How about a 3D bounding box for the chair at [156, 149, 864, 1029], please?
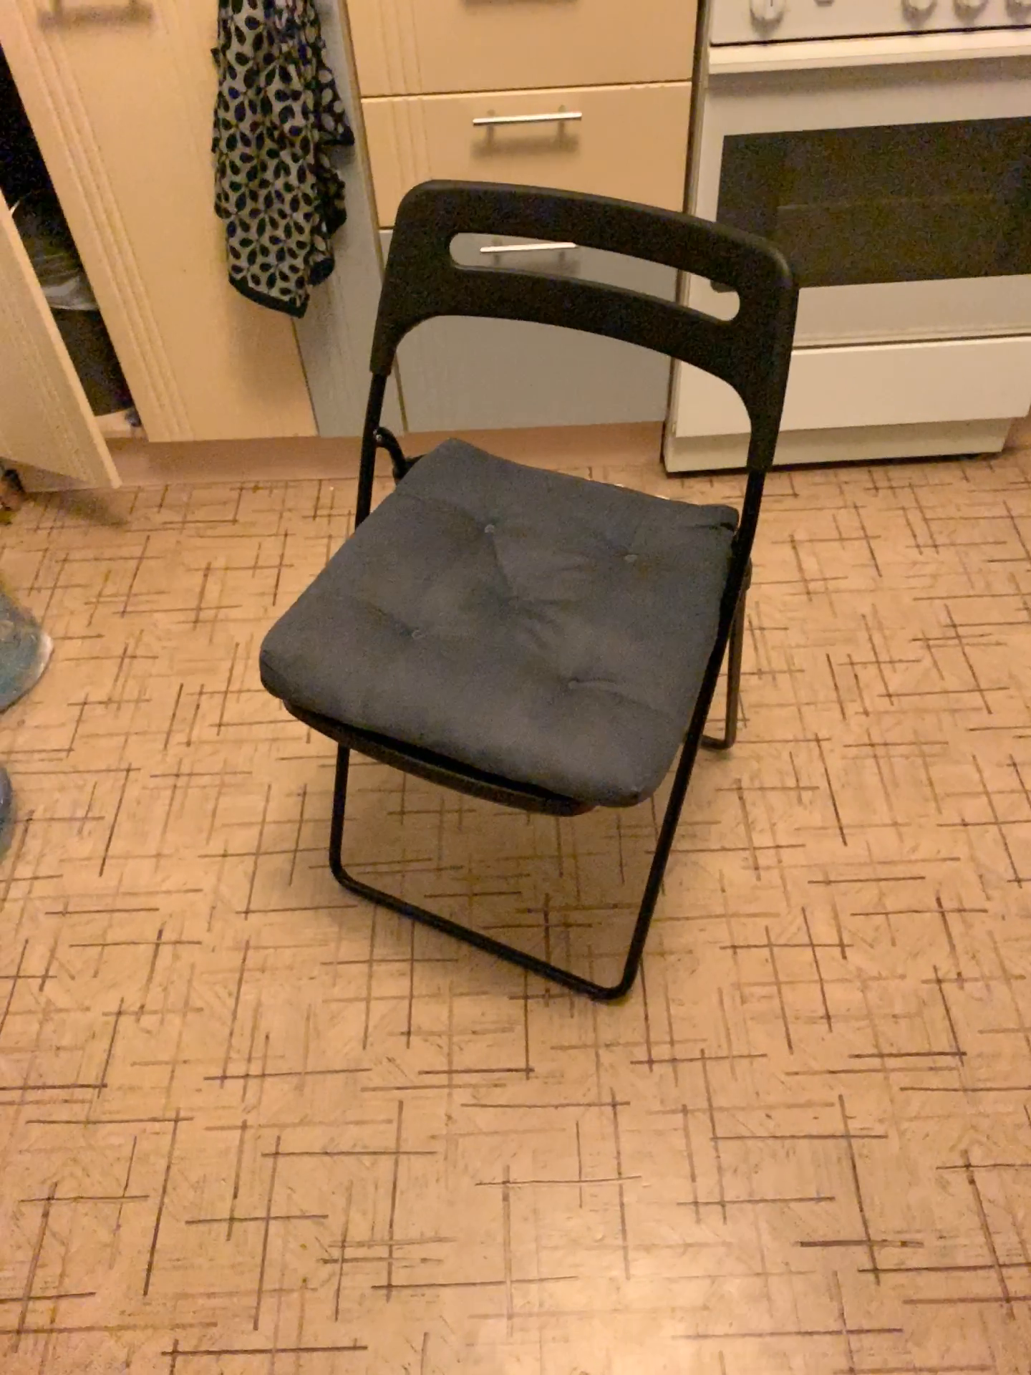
[{"bbox_3d":[0.036,-0.076,1.189,0.440,0.776,0.482,18,52,18],"label":"chair"}]
